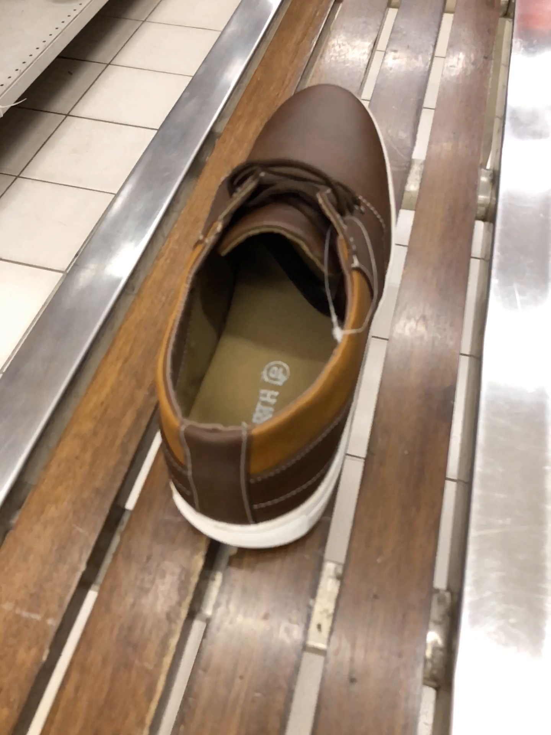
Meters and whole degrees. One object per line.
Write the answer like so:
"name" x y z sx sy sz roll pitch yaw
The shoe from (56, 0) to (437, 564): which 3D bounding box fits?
"shoe" 0.013 -0.074 0.313 0.100 0.080 0.312 10 56 9
